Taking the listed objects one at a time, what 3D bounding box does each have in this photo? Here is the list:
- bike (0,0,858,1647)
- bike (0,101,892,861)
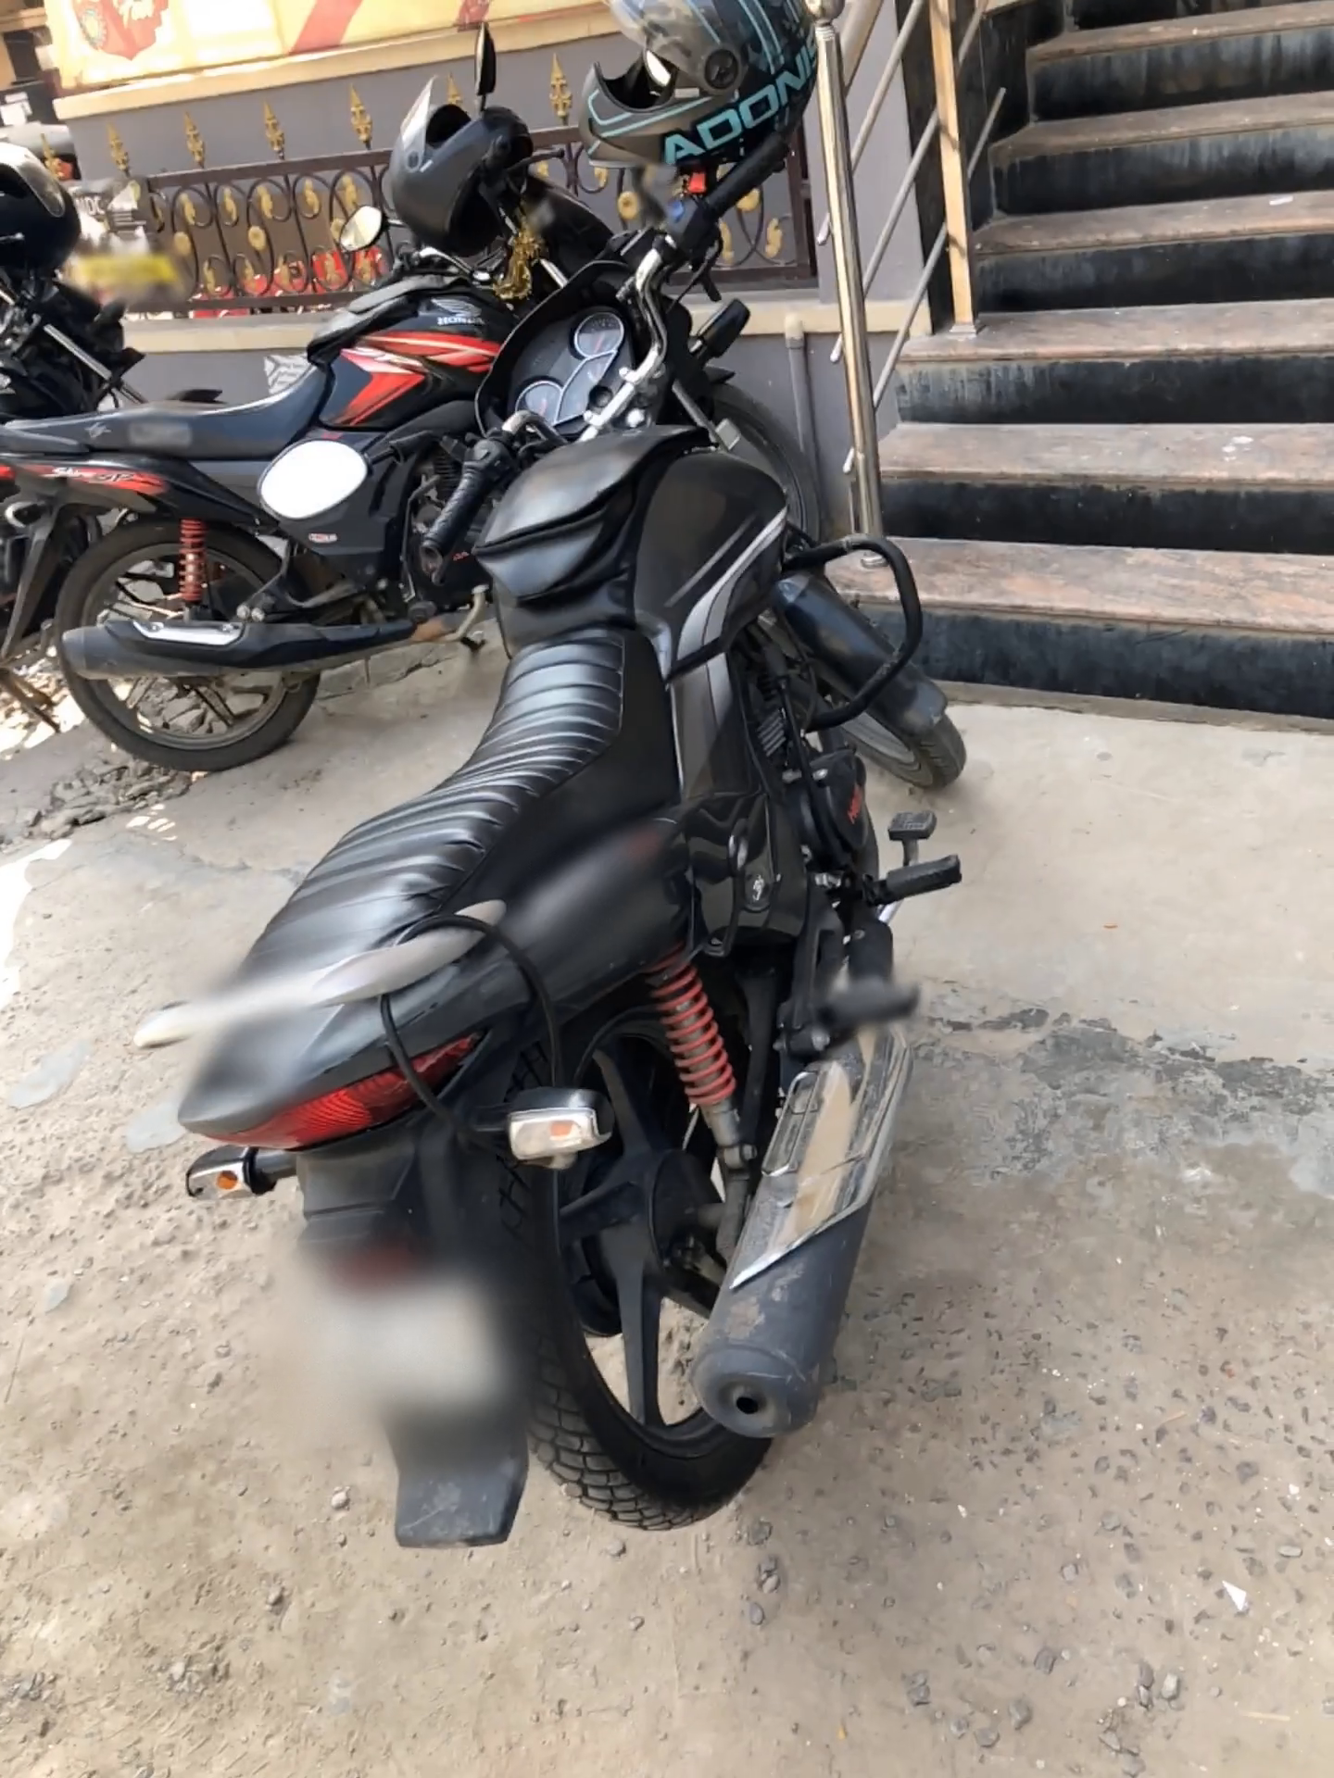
[{"bbox_3d":[-0.195,-0.306,1.878,0.747,1.156,1.744,-3,35,12],"label":"bike"},{"bbox_3d":[-0.469,-0.884,2.991,1.599,1.056,0.687,-18,32,-14],"label":"bike"}]
